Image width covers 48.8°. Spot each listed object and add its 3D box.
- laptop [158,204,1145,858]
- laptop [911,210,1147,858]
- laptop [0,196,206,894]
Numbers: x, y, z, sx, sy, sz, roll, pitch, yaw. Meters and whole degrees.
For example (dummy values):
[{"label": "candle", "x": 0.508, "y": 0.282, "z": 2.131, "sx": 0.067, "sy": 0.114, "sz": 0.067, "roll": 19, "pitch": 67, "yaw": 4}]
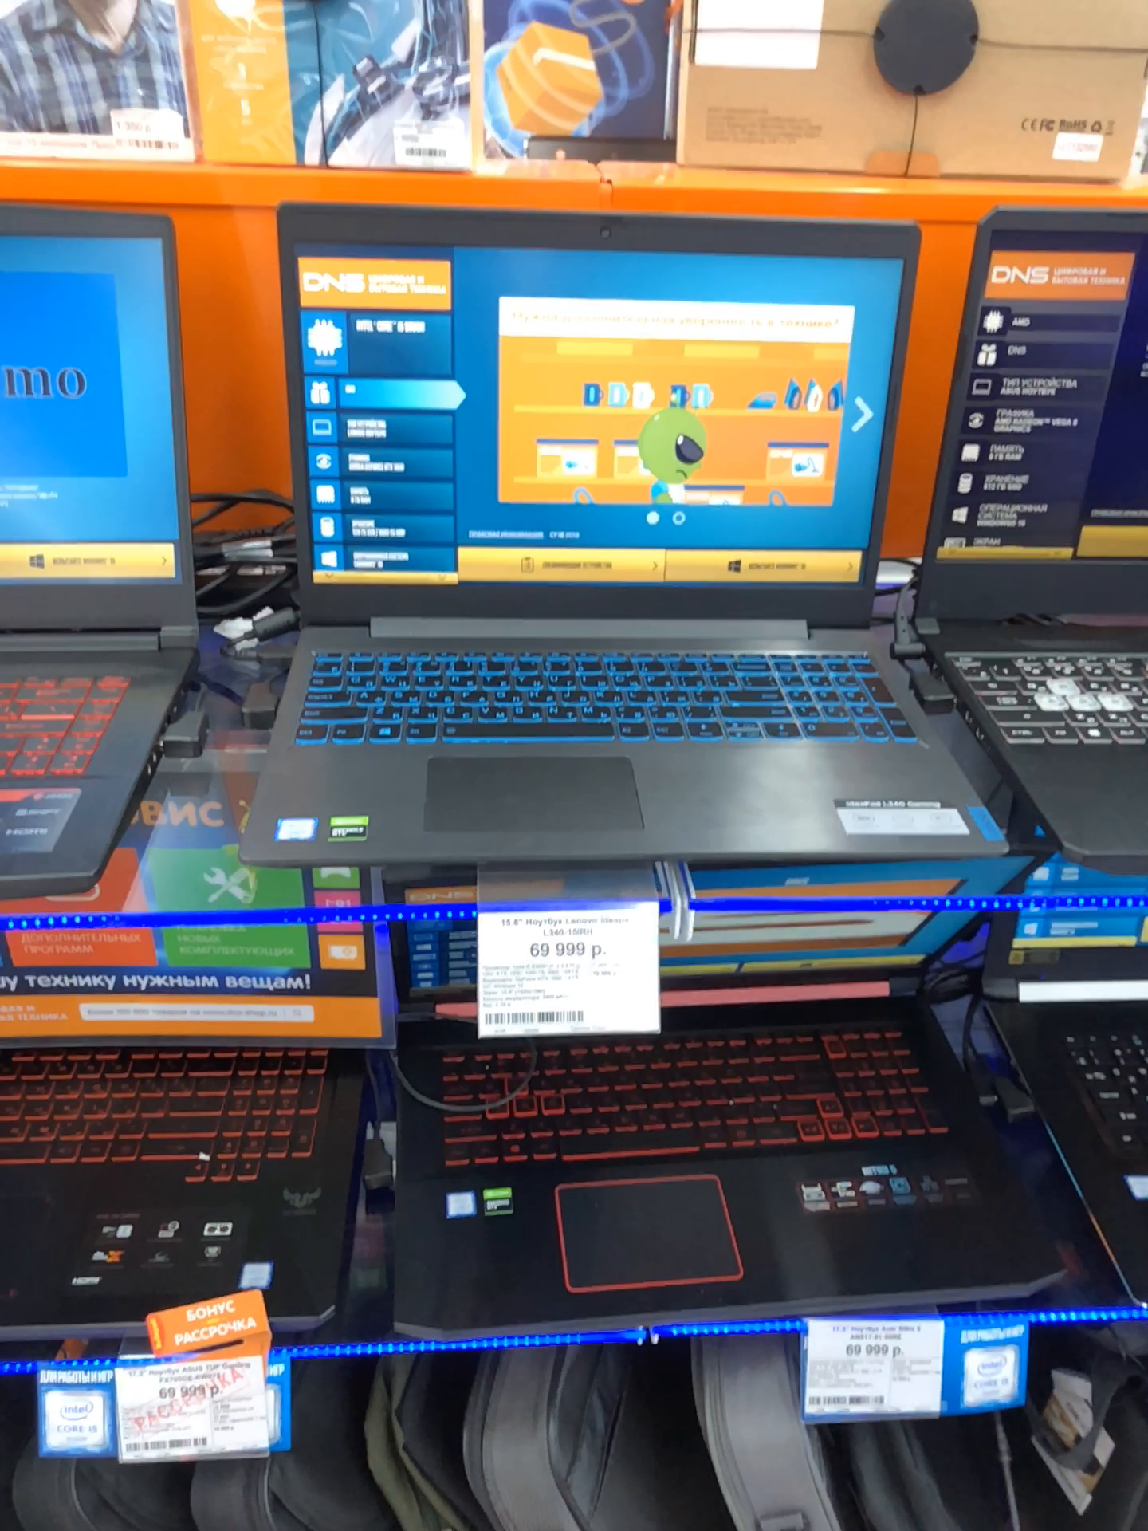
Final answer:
[{"label": "laptop", "x": 0.019, "y": -0.130, "z": 0.633, "sx": 0.356, "sy": 0.235, "sz": 0.279, "roll": 0, "pitch": 30, "yaw": -4}, {"label": "laptop", "x": 0.409, "y": -0.132, "z": 0.653, "sx": 0.368, "sy": 0.244, "sz": 0.274, "roll": 0, "pitch": 30, "yaw": -3}, {"label": "laptop", "x": -0.399, "y": -0.128, "z": 0.612, "sx": 0.356, "sy": 0.224, "sz": 0.320, "roll": -1, "pitch": 30, "yaw": -6}]
